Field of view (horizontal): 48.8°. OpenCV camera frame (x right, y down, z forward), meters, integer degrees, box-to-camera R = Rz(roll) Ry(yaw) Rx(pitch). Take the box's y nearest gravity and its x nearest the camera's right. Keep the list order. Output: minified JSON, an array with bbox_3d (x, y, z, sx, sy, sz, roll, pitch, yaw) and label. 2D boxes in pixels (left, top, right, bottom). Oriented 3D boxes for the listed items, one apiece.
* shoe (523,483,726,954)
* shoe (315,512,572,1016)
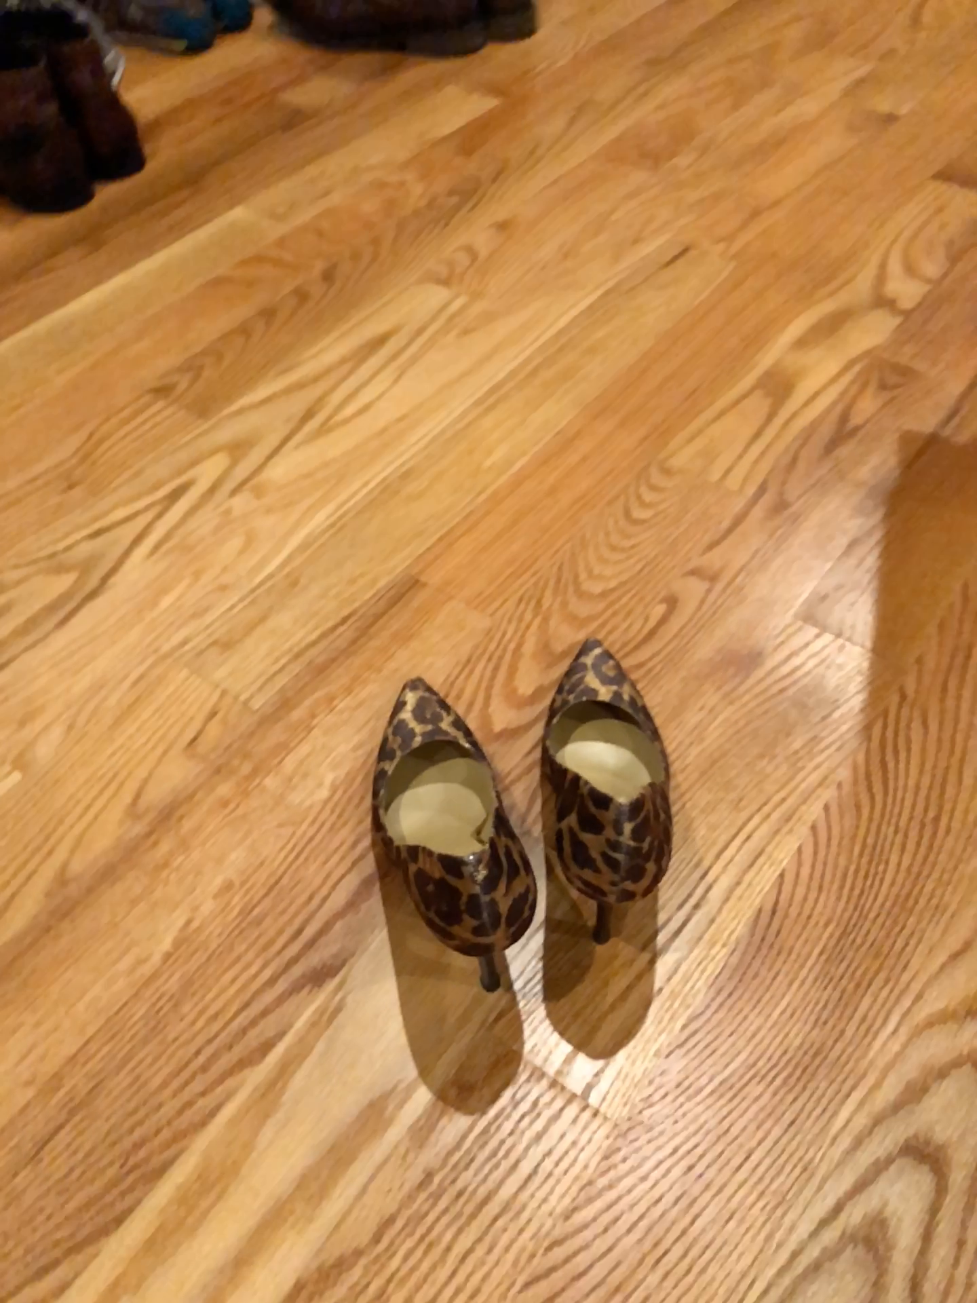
[{"bbox_3d":[0.065,0.034,0.604,0.083,0.144,0.219,-1,49,1],"label":"shoe"},{"bbox_3d":[-0.028,0.056,0.588,0.083,0.144,0.219,-12,49,-8],"label":"shoe"}]
